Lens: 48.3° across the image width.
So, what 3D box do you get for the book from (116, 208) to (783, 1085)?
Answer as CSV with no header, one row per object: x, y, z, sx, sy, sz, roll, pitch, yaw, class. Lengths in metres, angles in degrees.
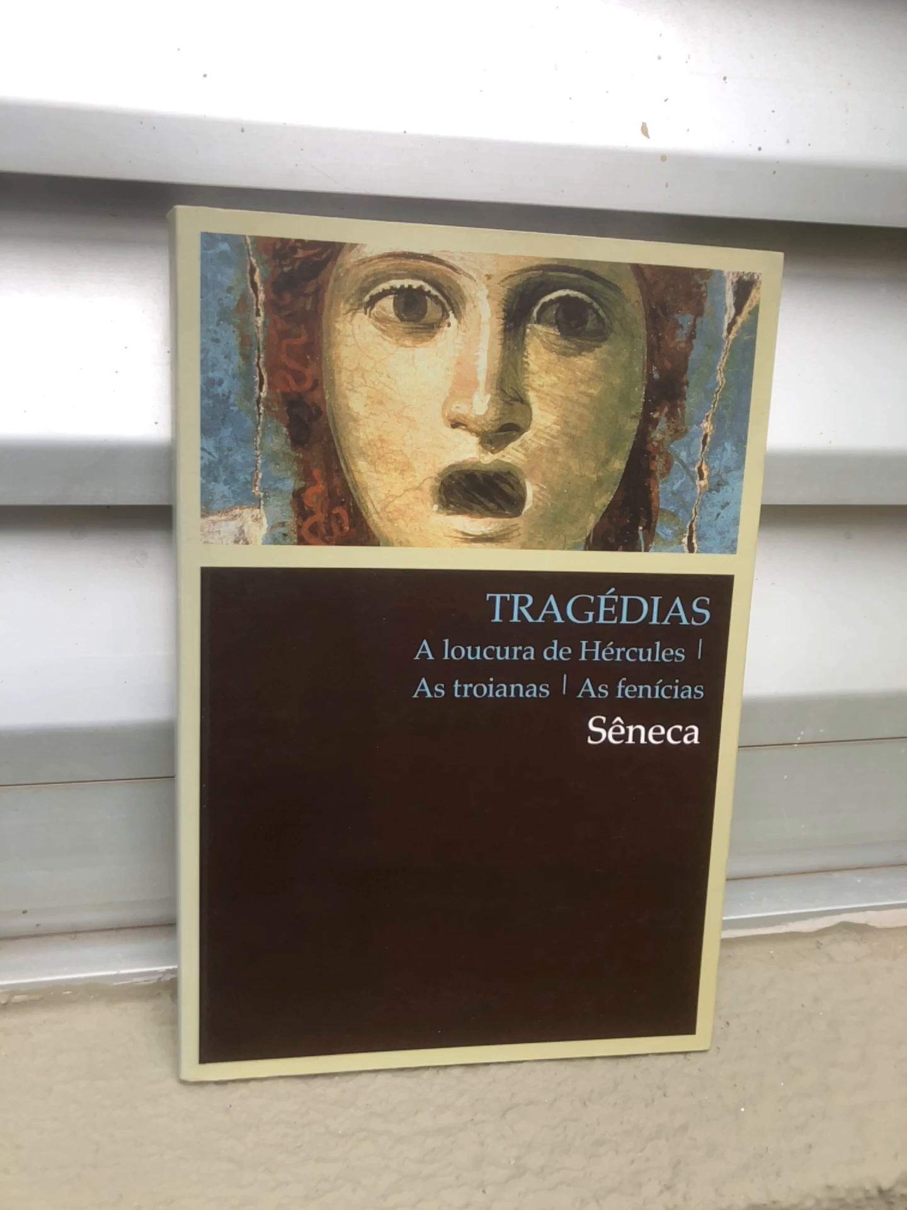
-0.002,0.013,0.245,0.144,0.197,0.026,0,9,-7,book
